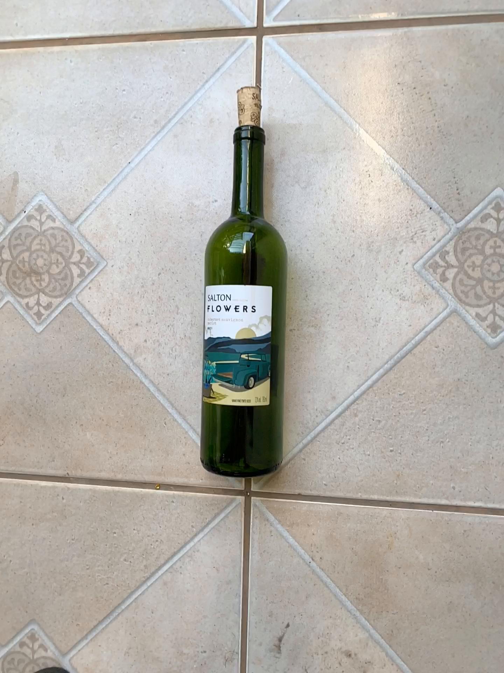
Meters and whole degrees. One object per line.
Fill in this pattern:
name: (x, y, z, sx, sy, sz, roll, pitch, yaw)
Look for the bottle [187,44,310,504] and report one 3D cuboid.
bottle: (-0.001, -0.047, 0.445, 0.080, 0.080, 0.350, 2, 92, 16)
